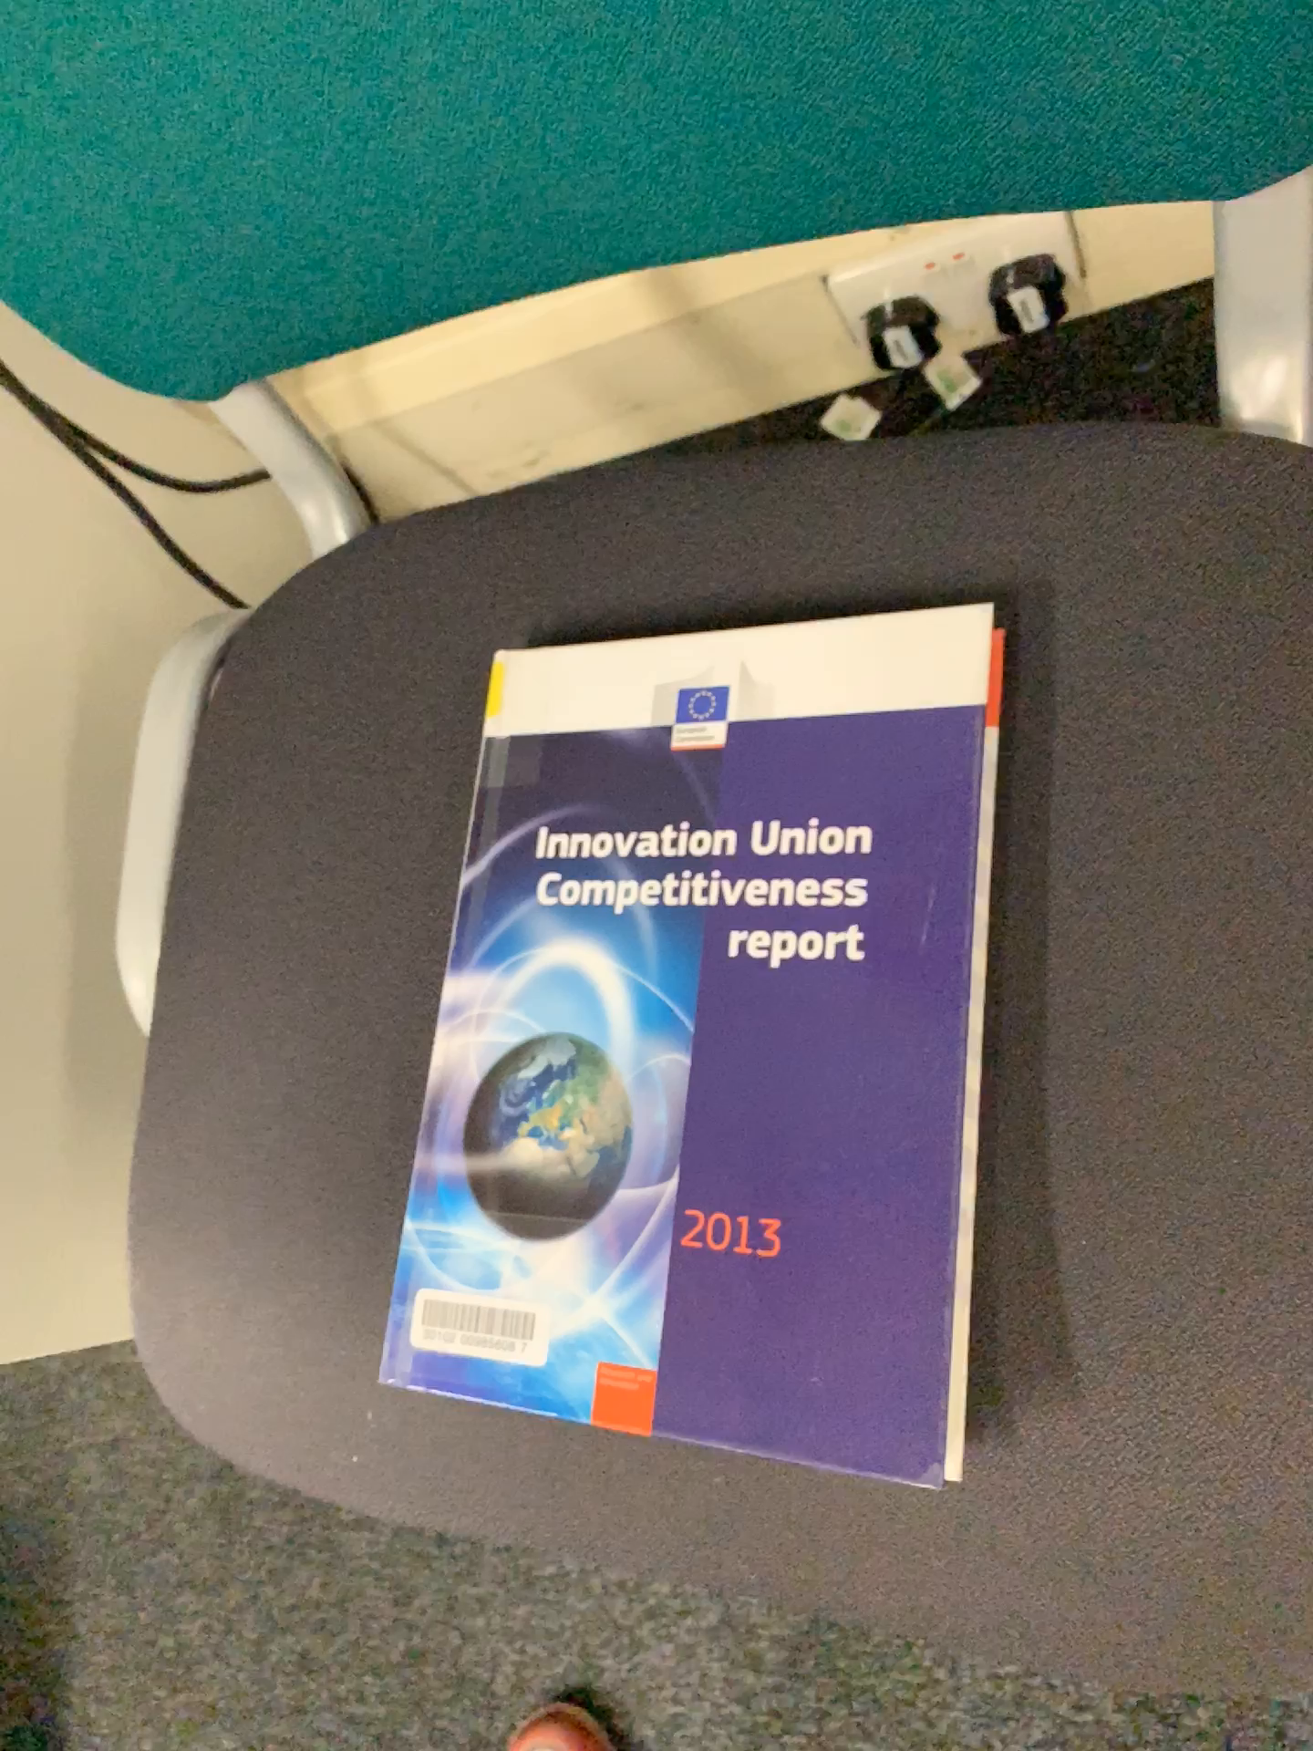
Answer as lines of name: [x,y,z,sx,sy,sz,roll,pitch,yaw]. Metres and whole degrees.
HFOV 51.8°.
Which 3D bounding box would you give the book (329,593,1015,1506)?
book: [0.004,0.040,0.424,0.194,0.026,0.250,0,73,28]
